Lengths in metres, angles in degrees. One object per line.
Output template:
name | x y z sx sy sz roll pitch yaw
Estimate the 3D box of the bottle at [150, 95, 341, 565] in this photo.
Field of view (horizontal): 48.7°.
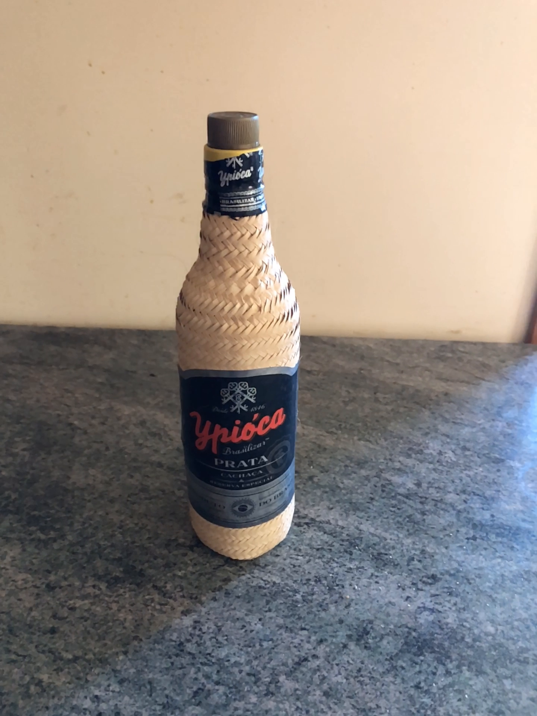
bottle | -0.018 -0.006 0.380 0.090 0.288 0.080 3 27 -1
